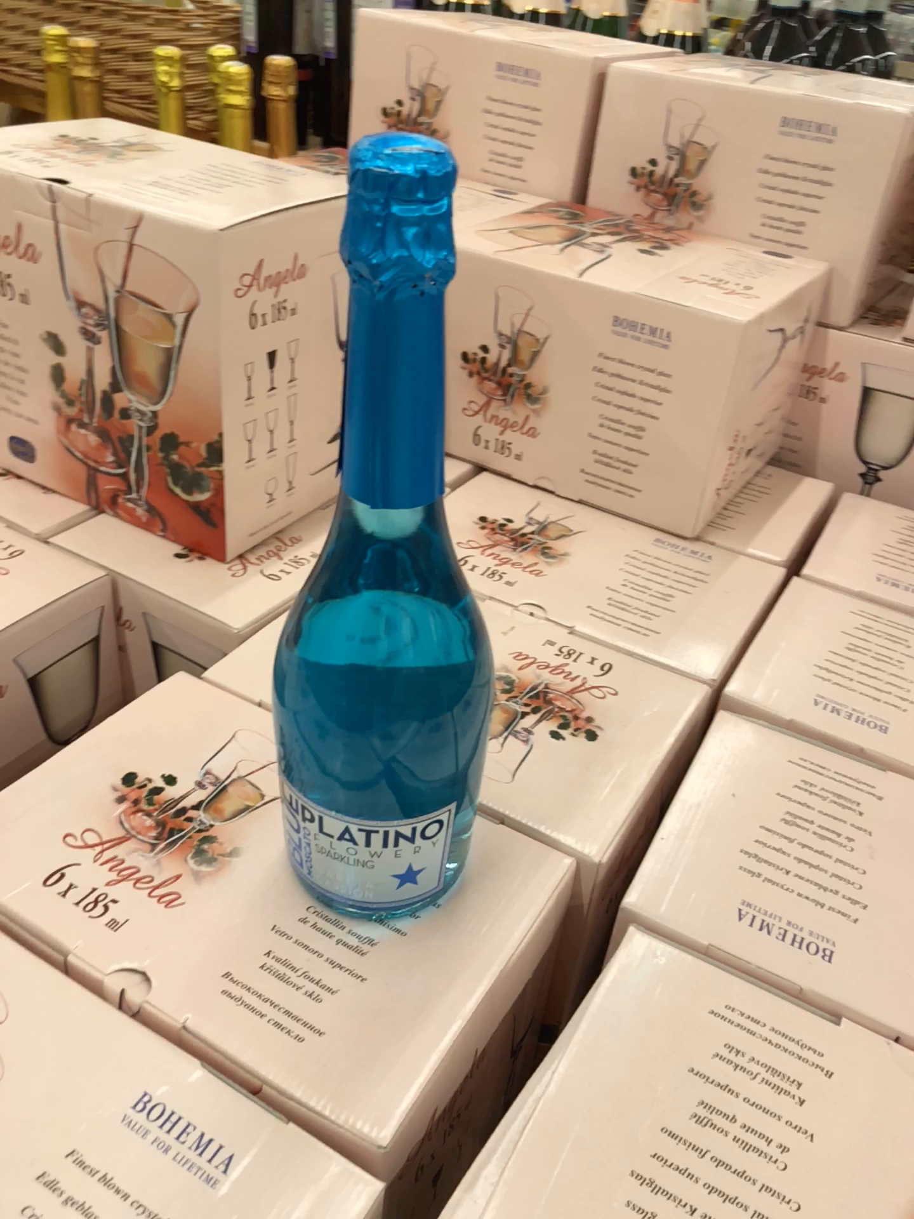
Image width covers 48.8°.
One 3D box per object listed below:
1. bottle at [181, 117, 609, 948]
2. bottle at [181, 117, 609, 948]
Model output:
[{"bbox_3d":[-0.025,-0.017,0.375,0.100,0.278,0.101,5,34,-3],"label":"bottle"},{"bbox_3d":[-0.025,-0.017,0.375,0.100,0.278,0.101,5,34,-3],"label":"bottle"}]
